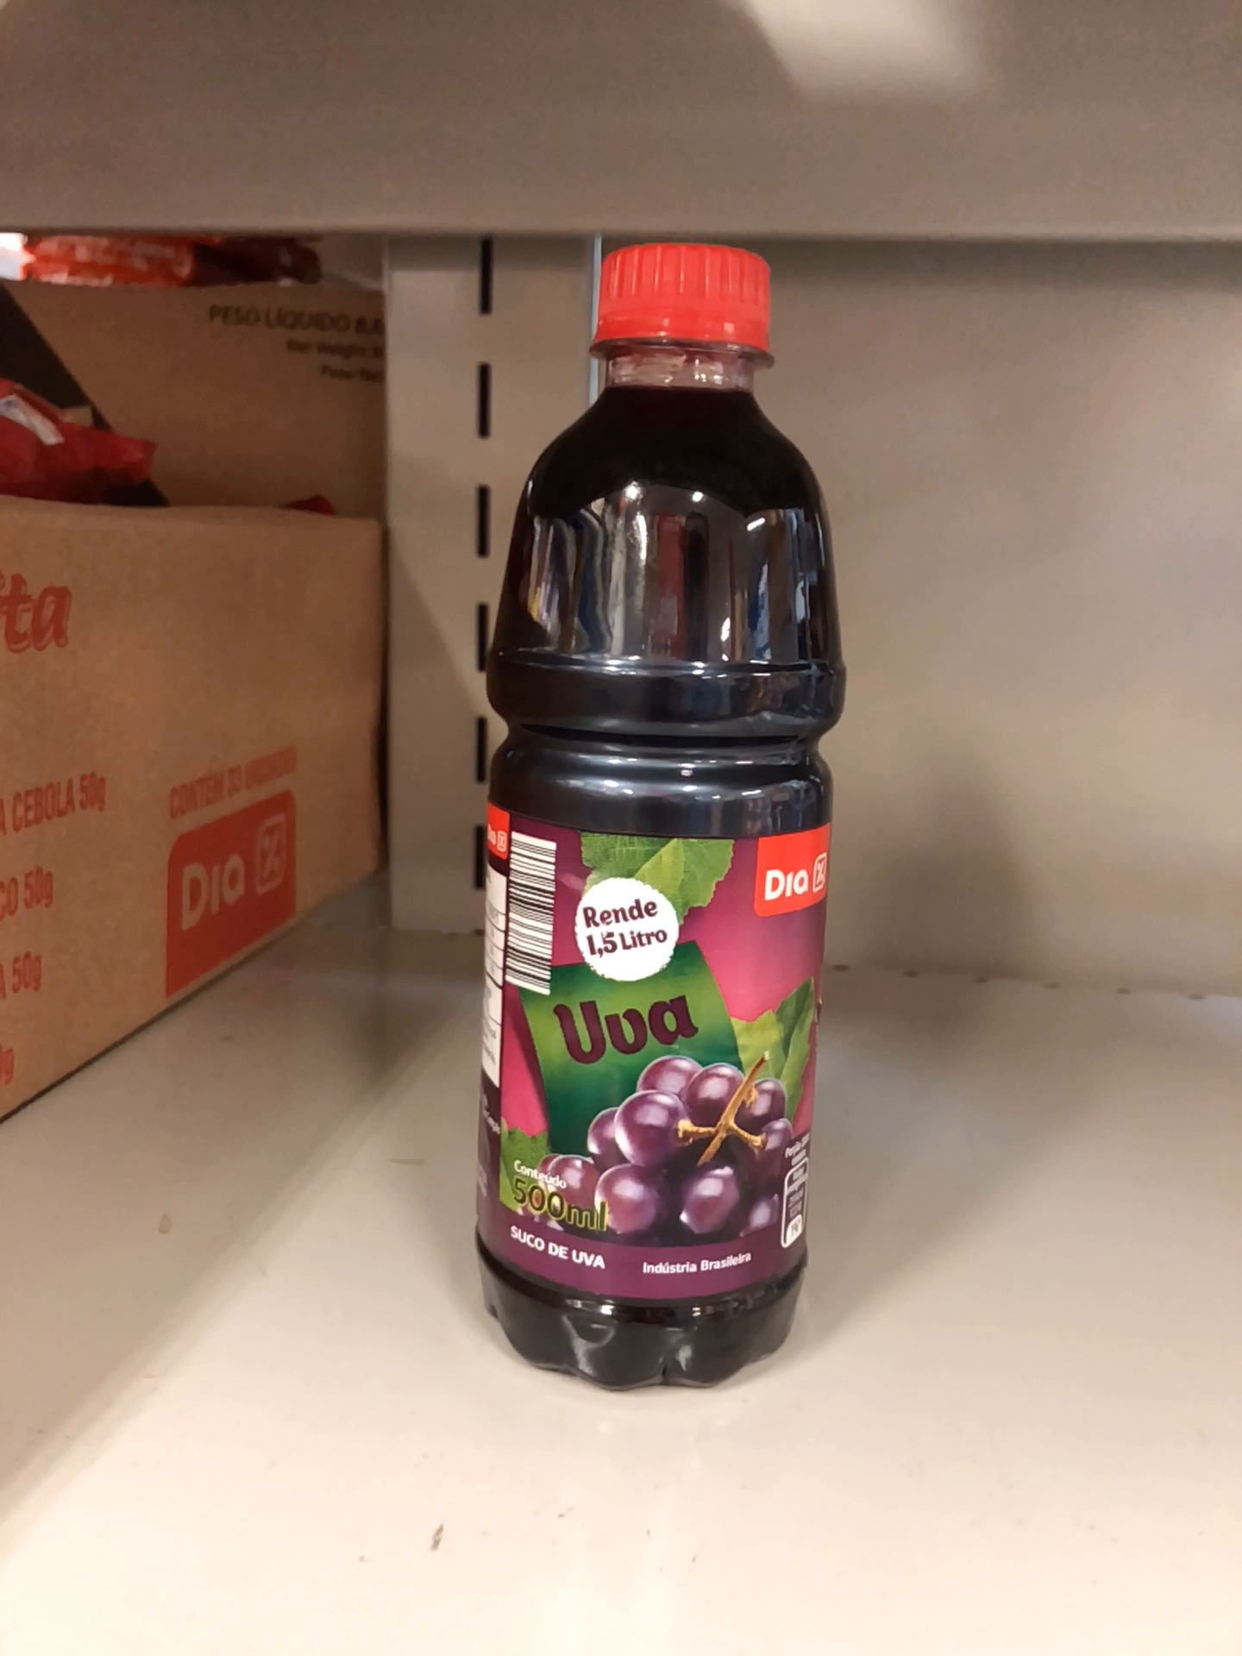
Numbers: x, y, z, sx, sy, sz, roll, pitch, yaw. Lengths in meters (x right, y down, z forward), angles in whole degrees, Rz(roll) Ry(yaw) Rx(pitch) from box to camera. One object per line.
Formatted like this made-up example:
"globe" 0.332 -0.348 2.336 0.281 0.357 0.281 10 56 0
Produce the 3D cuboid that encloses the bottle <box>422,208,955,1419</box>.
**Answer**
"bottle" 0.005 -0.001 0.261 0.080 0.199 0.070 0 12 -5
